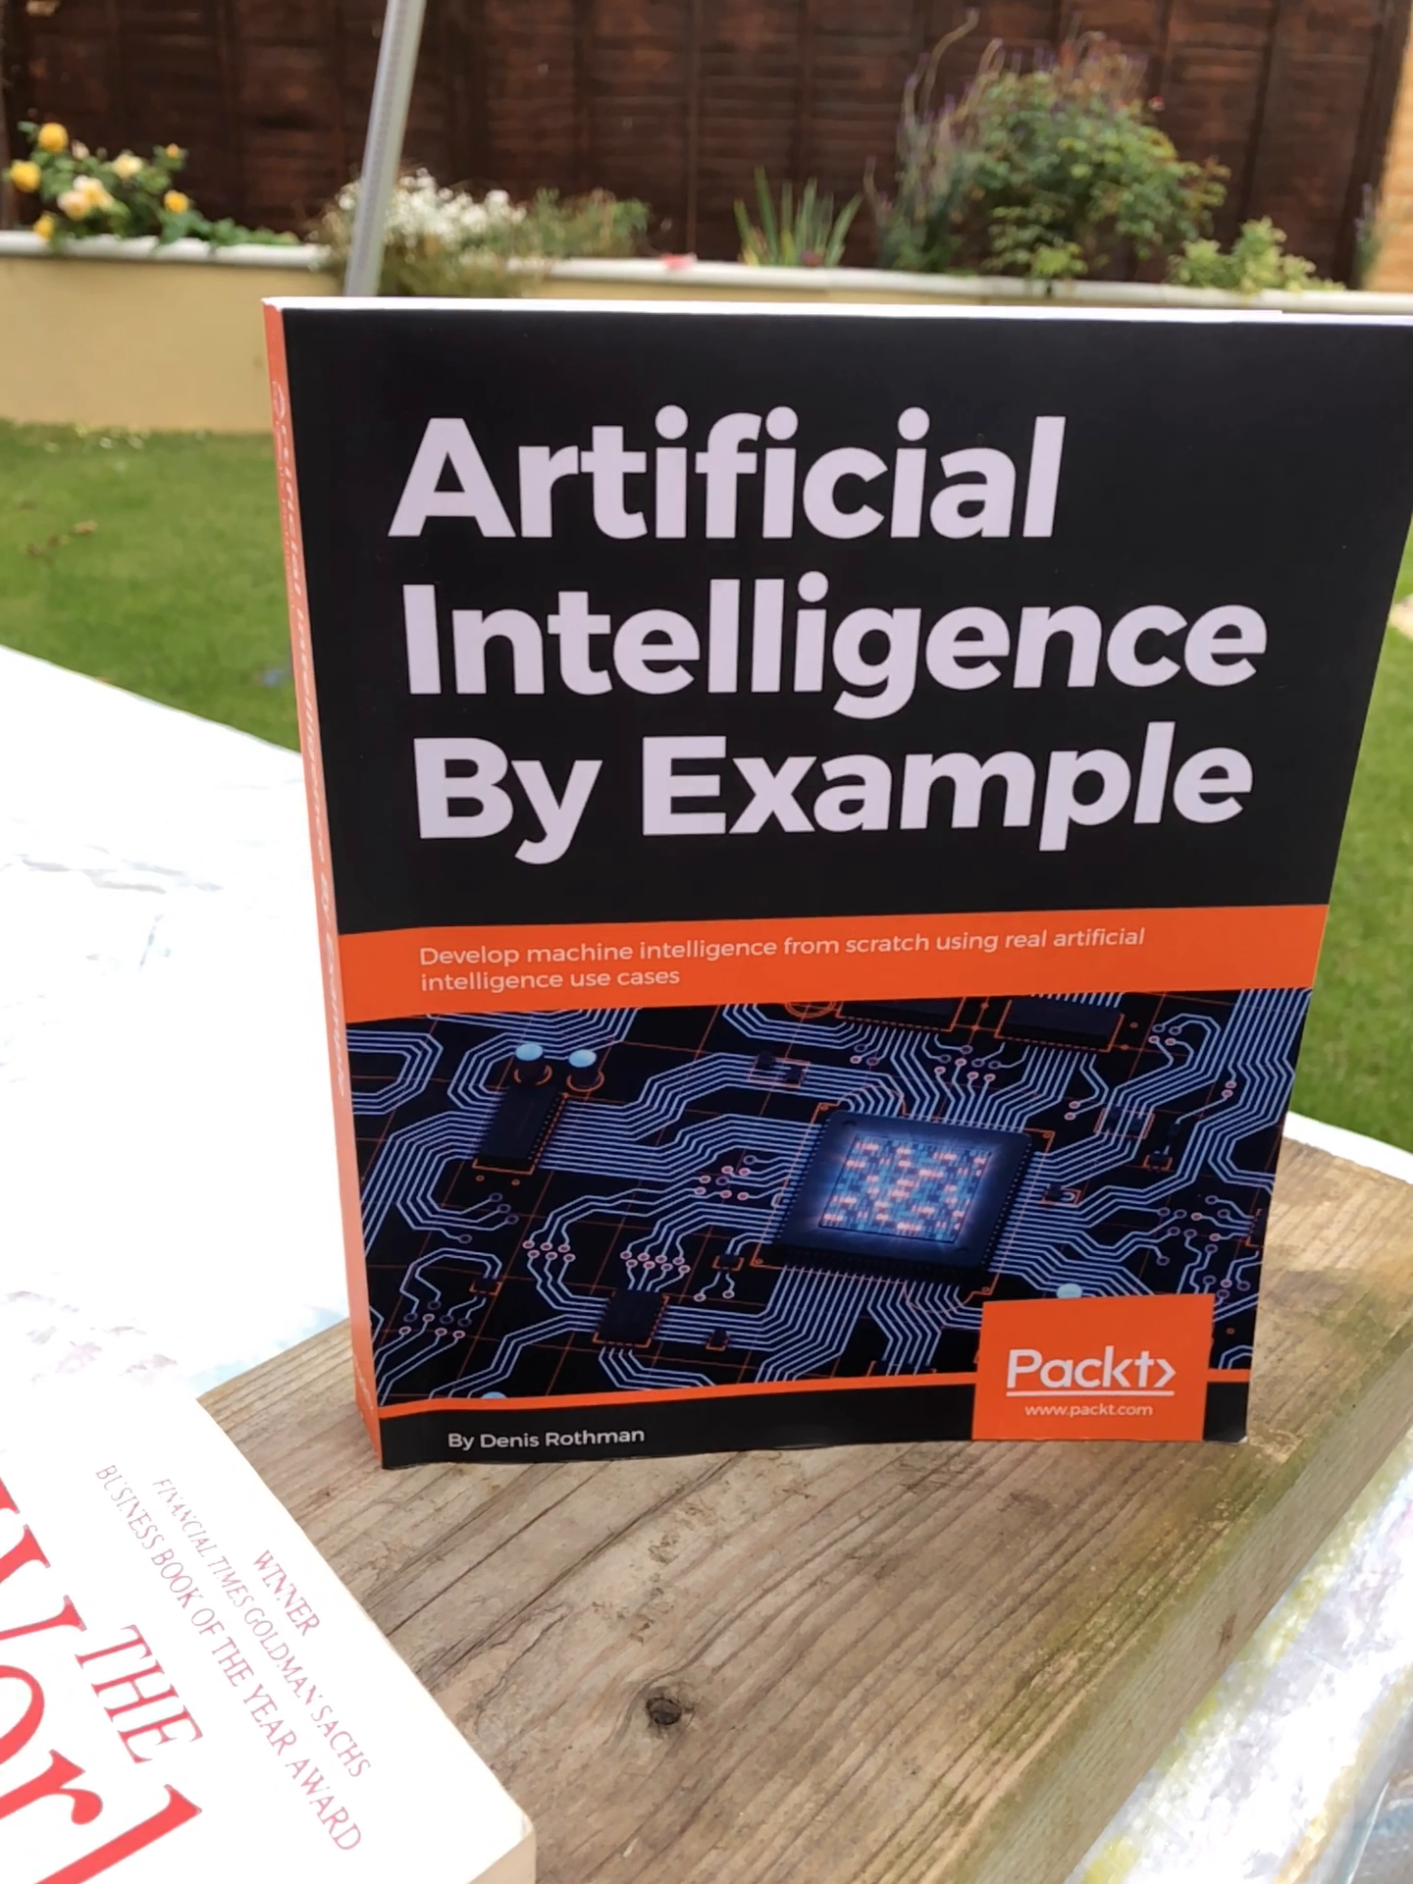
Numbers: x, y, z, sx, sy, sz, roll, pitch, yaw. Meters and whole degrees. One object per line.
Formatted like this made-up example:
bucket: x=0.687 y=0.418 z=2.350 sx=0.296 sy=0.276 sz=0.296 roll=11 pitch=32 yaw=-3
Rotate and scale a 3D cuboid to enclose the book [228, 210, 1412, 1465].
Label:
book: x=0.027 y=-0.008 z=0.308 sx=0.210 sy=0.238 sz=0.040 roll=1 pitch=22 yaw=-3
